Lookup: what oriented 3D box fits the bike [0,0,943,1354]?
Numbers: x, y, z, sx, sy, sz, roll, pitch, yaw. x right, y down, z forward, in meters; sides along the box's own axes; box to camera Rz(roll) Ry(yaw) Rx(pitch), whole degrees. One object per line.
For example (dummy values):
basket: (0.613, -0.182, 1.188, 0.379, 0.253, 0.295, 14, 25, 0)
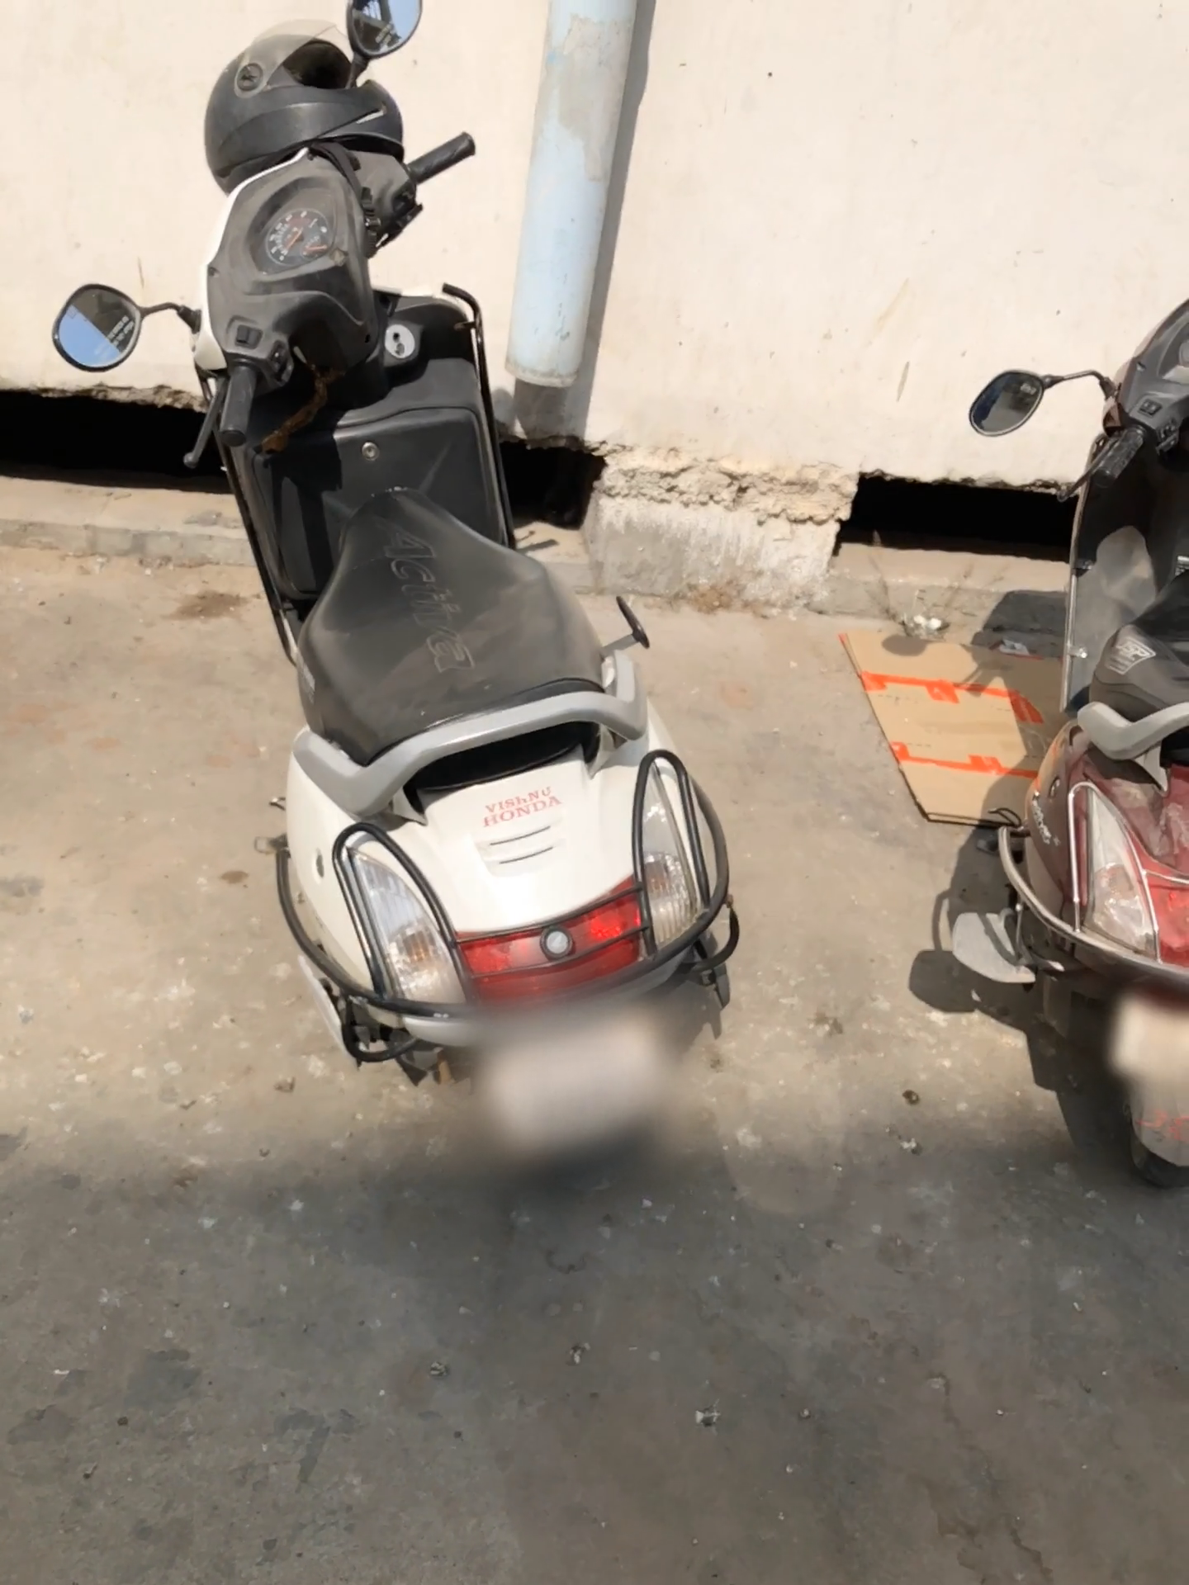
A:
bike: (-0.411, -0.249, 1.698, 0.626, 1.122, 1.305, -11, 43, -29)
